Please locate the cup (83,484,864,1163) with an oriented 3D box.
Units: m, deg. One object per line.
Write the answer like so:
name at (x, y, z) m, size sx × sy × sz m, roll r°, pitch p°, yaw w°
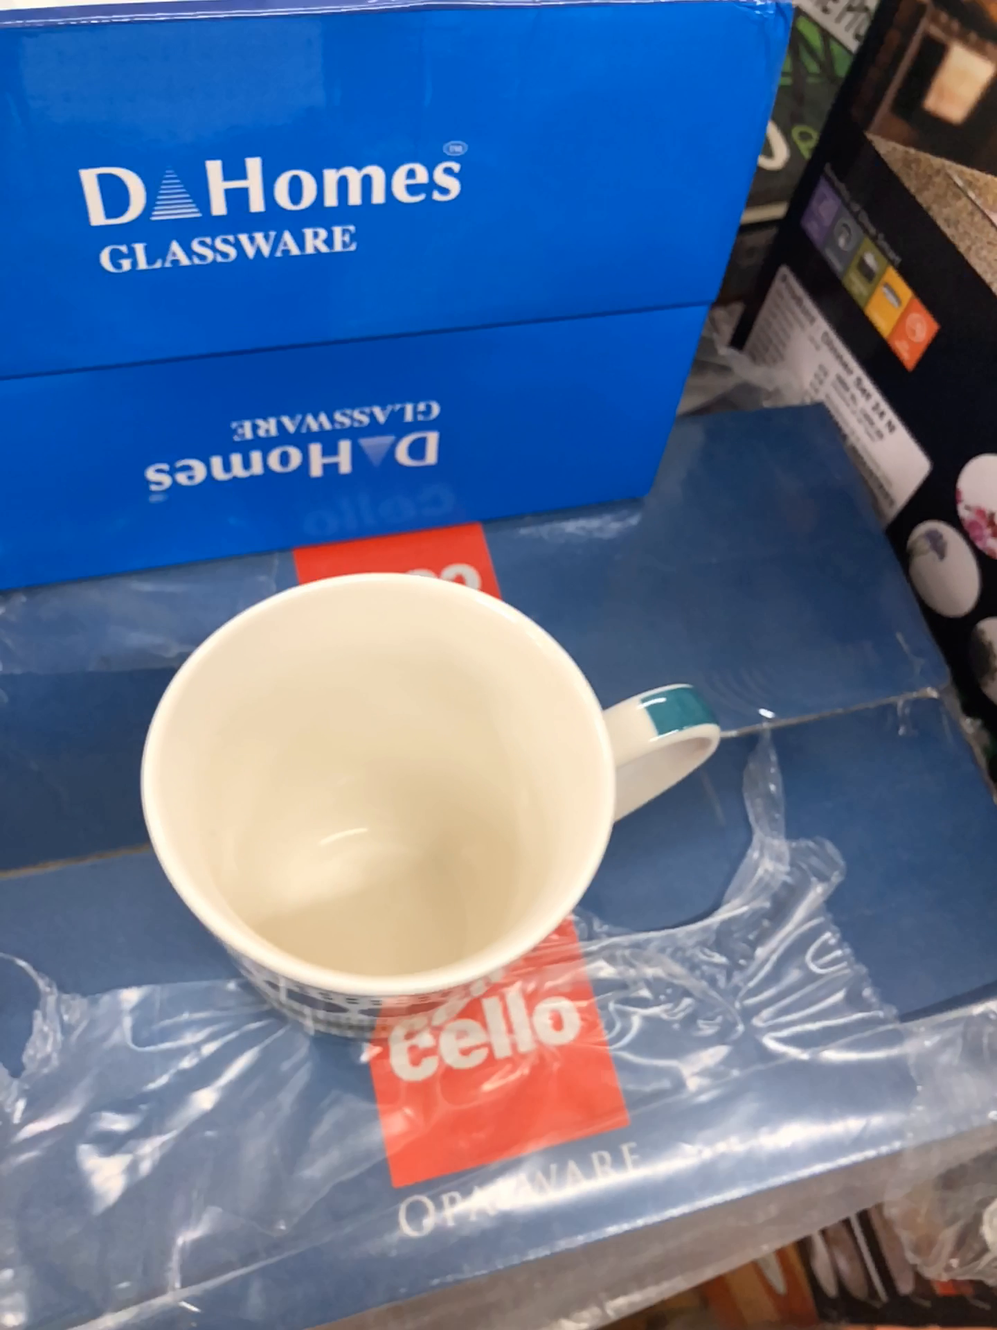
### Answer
cup at (-0.011, 0.036, 0.245) m, size 0.120 × 0.090 × 0.090 m, roll -16°, pitch 66°, yaw -16°
